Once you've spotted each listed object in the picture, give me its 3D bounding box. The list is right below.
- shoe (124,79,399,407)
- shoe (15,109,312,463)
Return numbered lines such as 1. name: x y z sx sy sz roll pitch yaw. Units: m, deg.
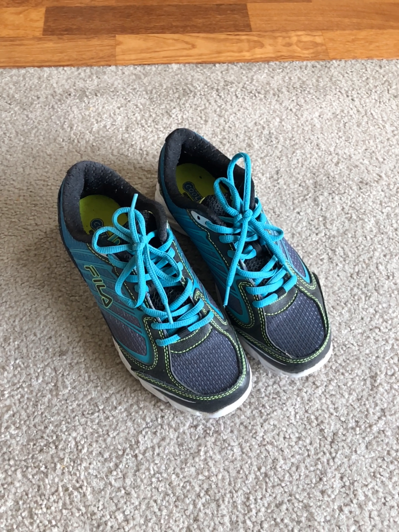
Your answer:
1. shoe: 0.046 -0.026 0.414 0.102 0.119 0.275 -29 68 -17
2. shoe: -0.044 0.011 0.386 0.105 0.119 0.271 -27 67 -19
